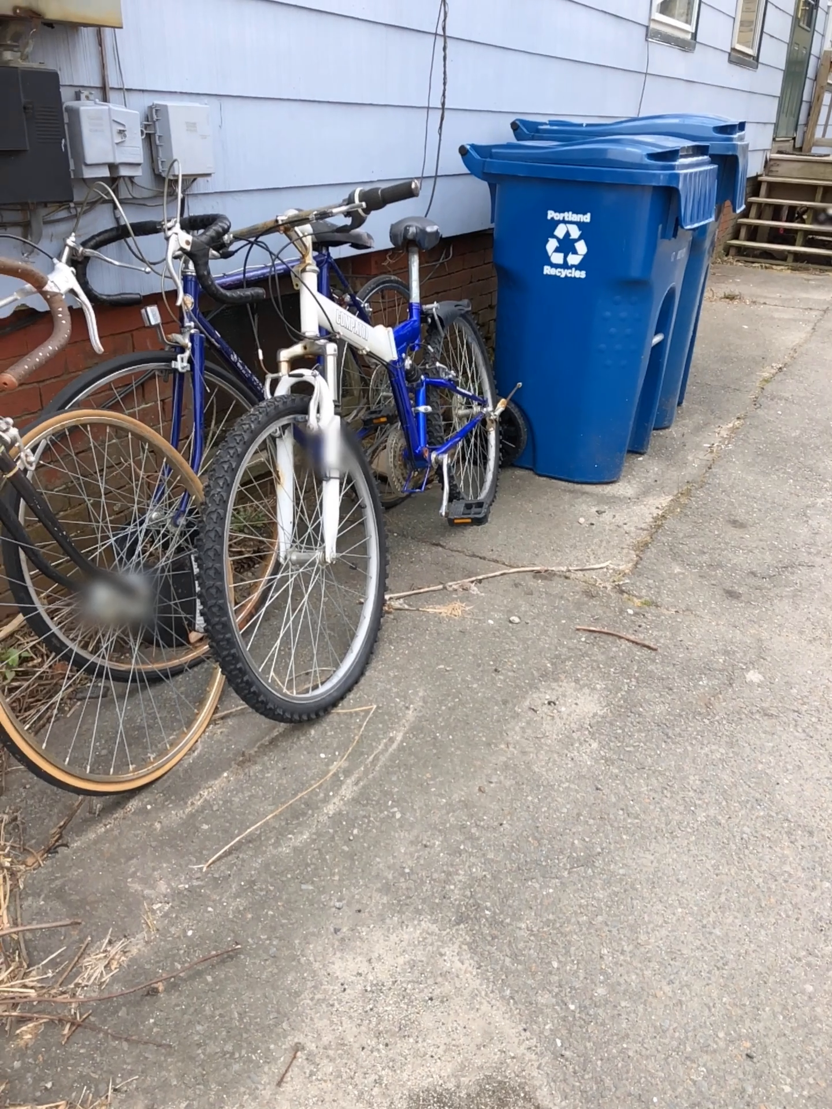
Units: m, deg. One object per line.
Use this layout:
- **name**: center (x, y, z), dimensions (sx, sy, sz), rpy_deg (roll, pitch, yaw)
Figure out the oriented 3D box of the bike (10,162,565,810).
- **bike**: center (-0.126, -0.390, 2.354), dimensions (0.562, 0.979, 1.739), rpy_deg (10, 29, 18)
